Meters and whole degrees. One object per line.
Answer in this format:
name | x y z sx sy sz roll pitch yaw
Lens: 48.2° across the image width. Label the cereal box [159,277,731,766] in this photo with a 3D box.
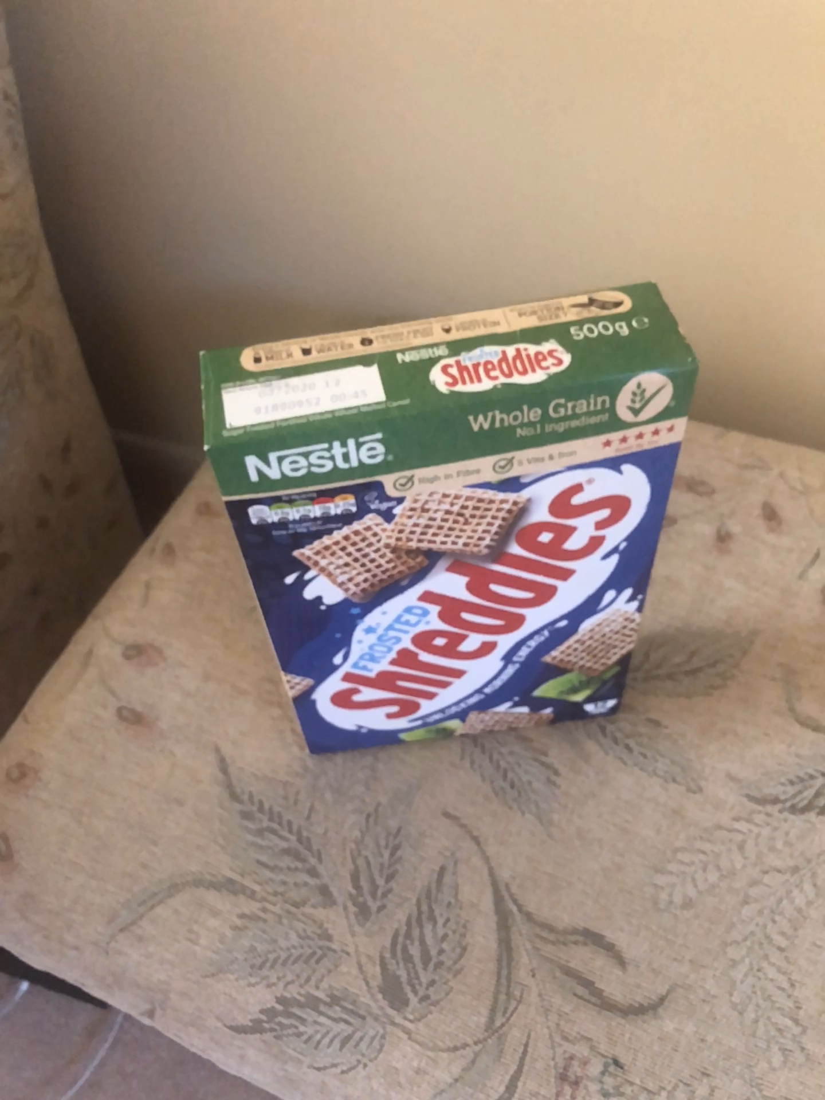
cereal box | 0.015 0.008 0.440 0.200 0.258 0.060 -8 53 -2
